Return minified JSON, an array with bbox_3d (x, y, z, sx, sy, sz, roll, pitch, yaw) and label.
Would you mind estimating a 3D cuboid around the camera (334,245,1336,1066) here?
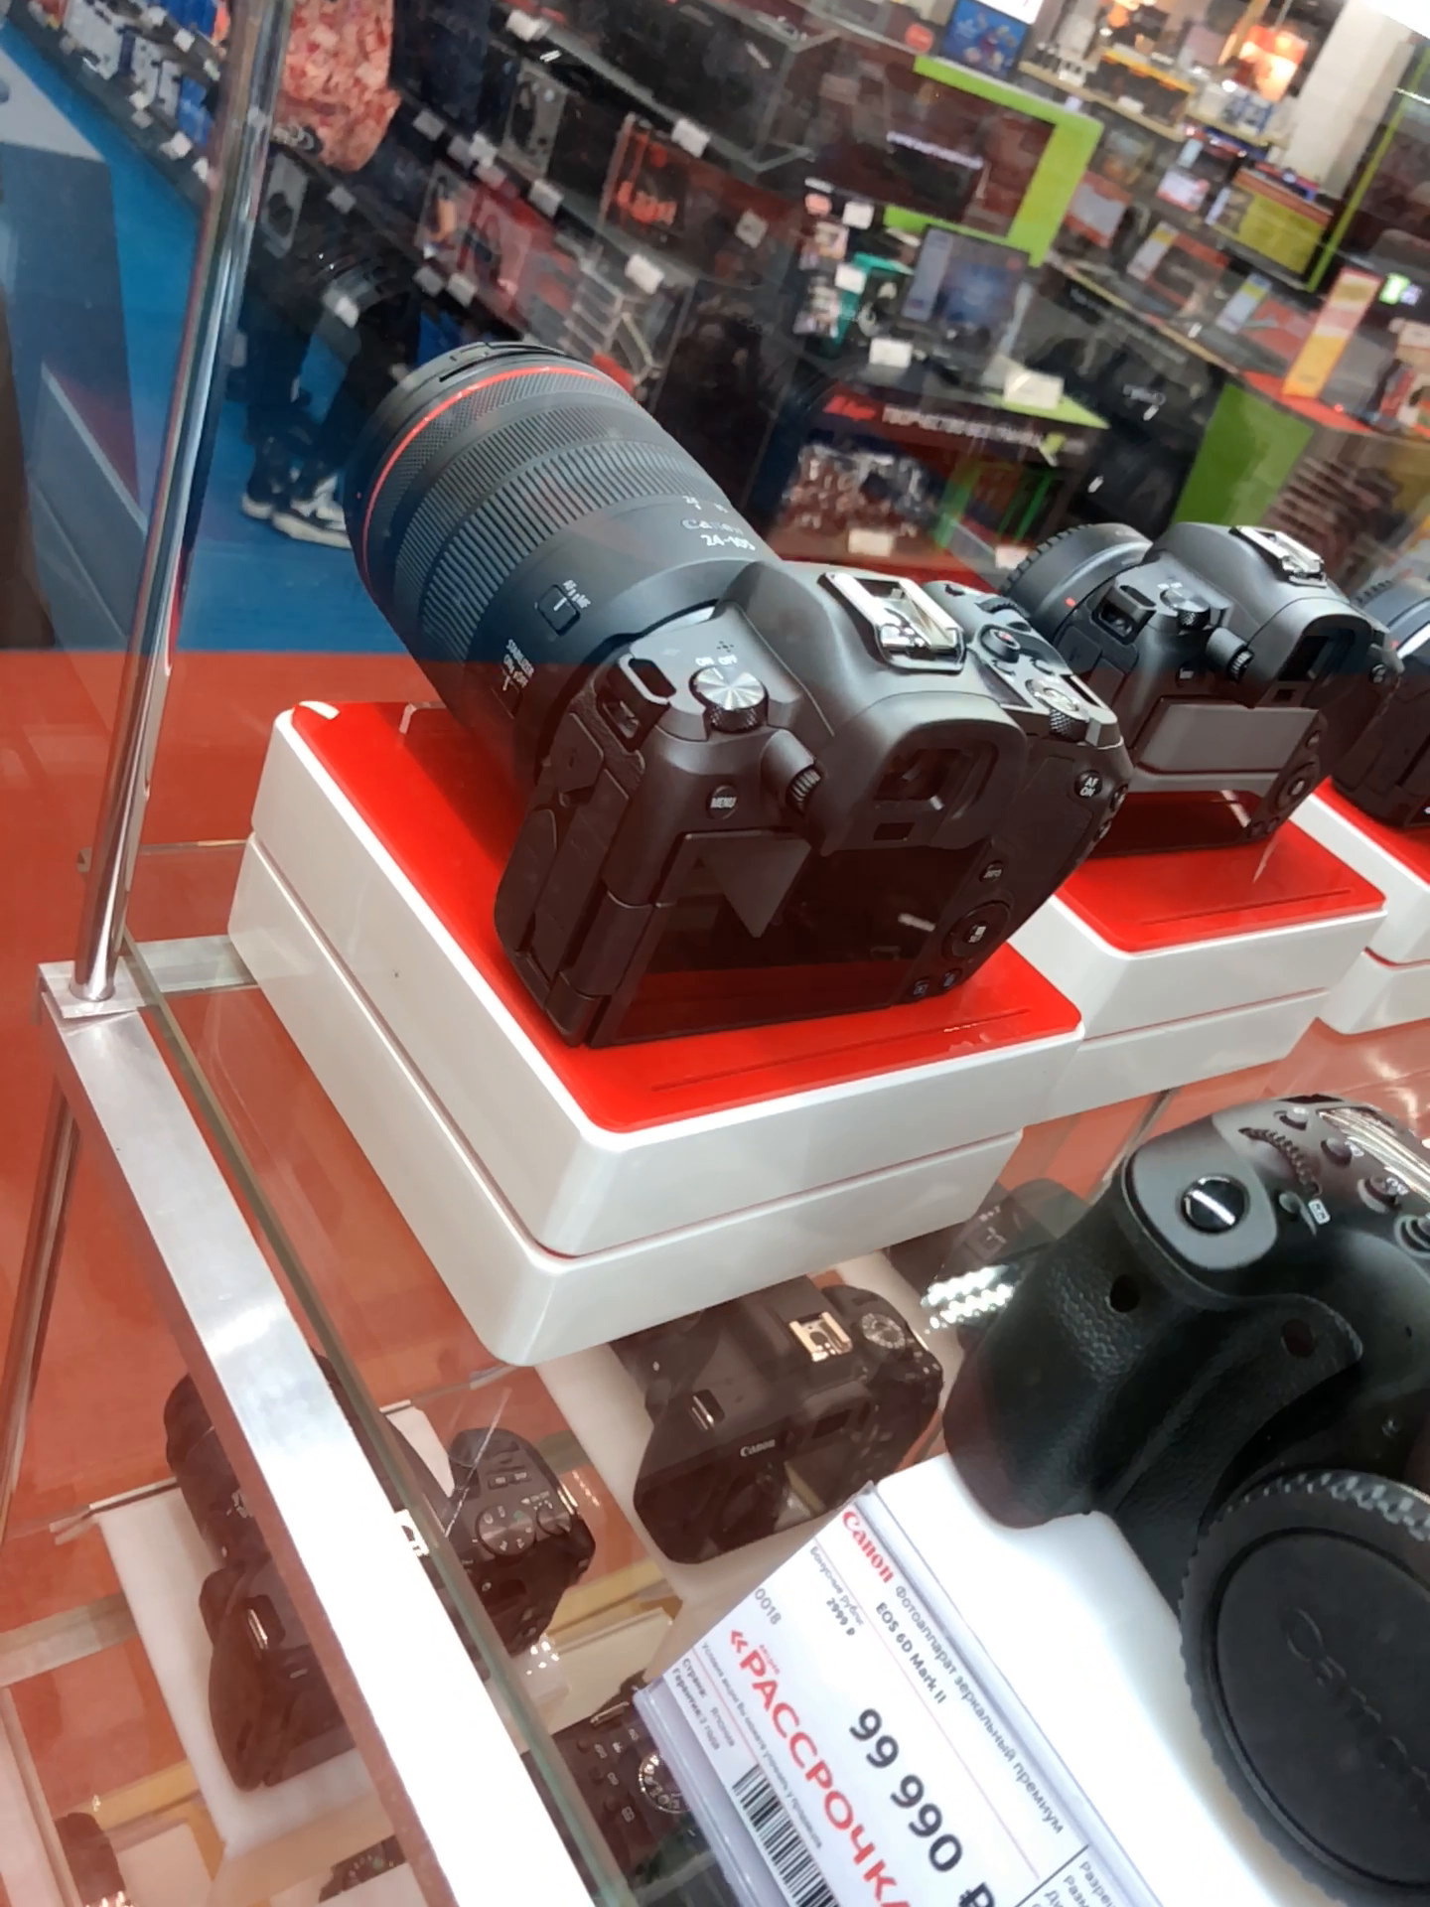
[{"bbox_3d":[0.020,-0.078,0.386,0.145,0.093,0.180,-7,44,-39],"label":"camera"}]
